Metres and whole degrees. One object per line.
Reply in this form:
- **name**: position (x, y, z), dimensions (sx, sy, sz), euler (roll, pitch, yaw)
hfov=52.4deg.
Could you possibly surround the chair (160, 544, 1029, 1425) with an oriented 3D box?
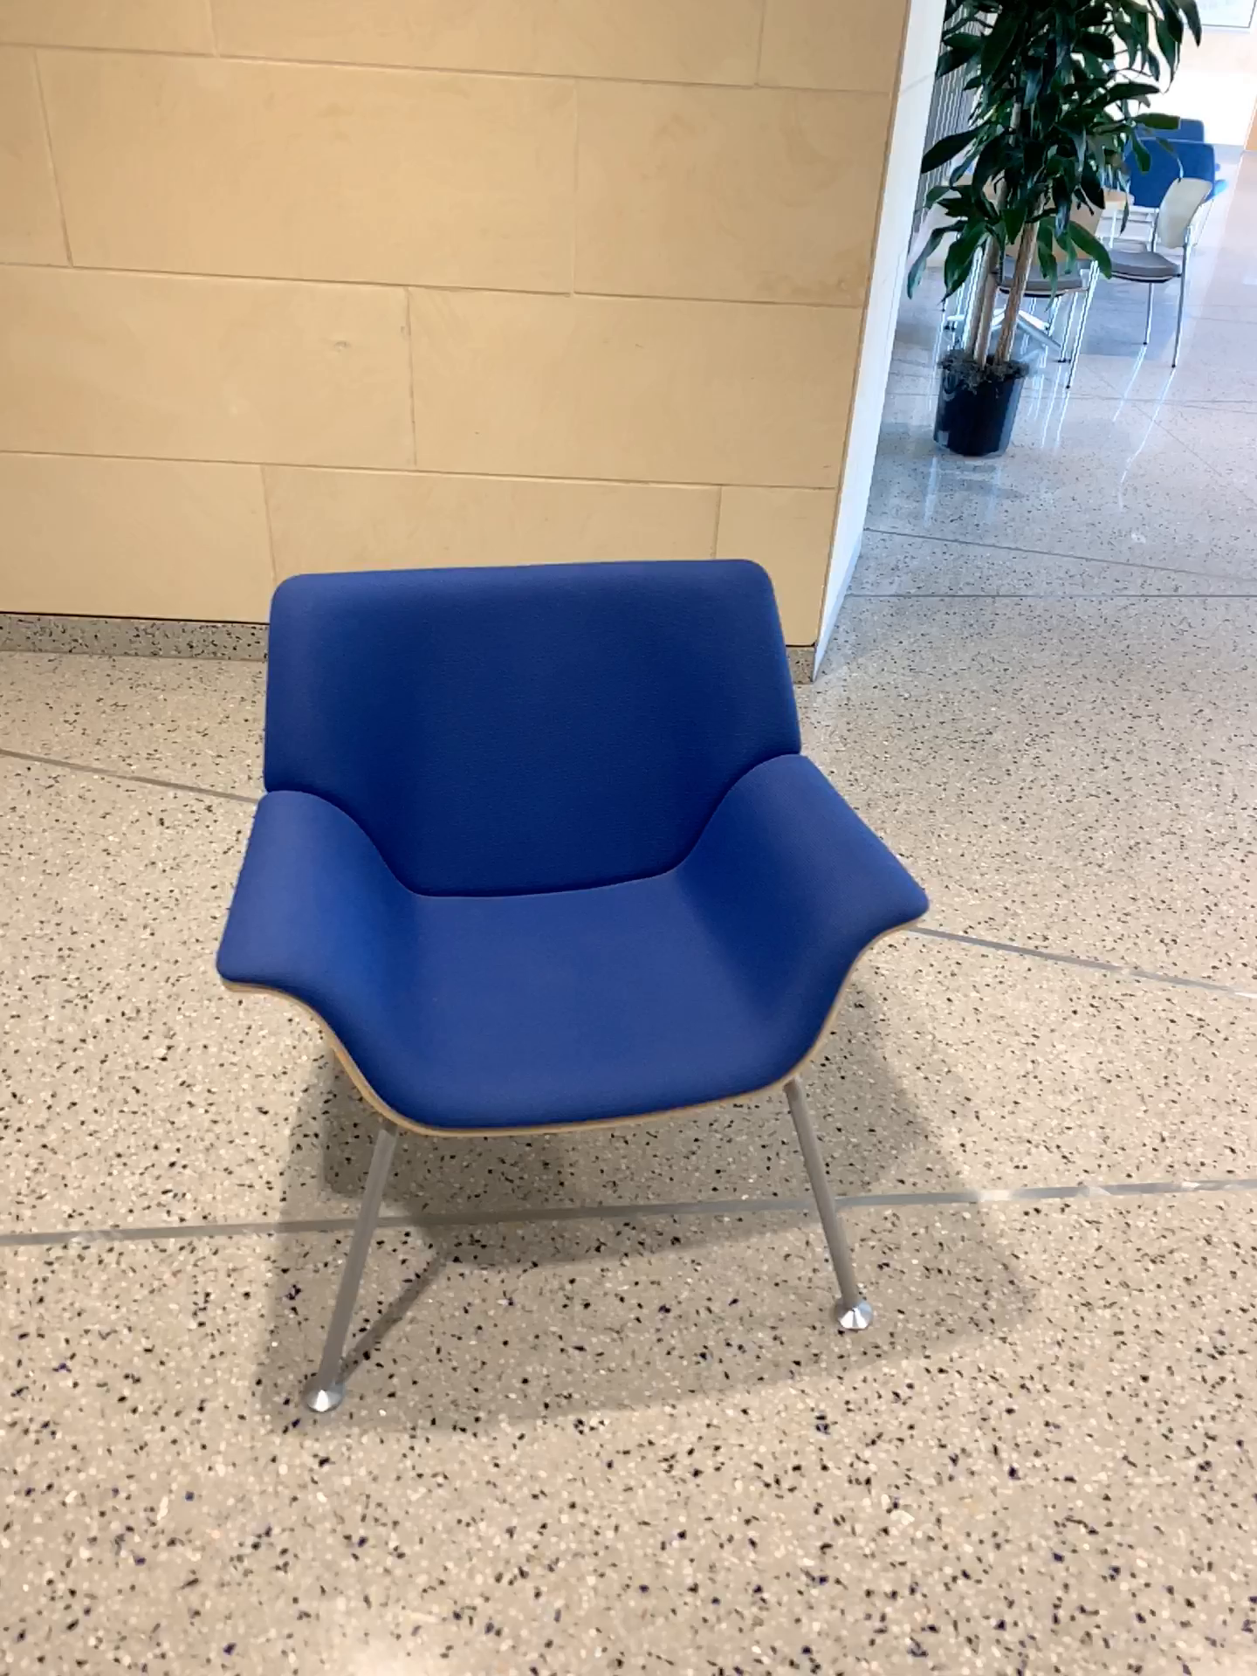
- **chair**: position (-0.096, 0.122, 1.634), dimensions (0.778, 0.728, 0.763), euler (-4, 34, -11)
